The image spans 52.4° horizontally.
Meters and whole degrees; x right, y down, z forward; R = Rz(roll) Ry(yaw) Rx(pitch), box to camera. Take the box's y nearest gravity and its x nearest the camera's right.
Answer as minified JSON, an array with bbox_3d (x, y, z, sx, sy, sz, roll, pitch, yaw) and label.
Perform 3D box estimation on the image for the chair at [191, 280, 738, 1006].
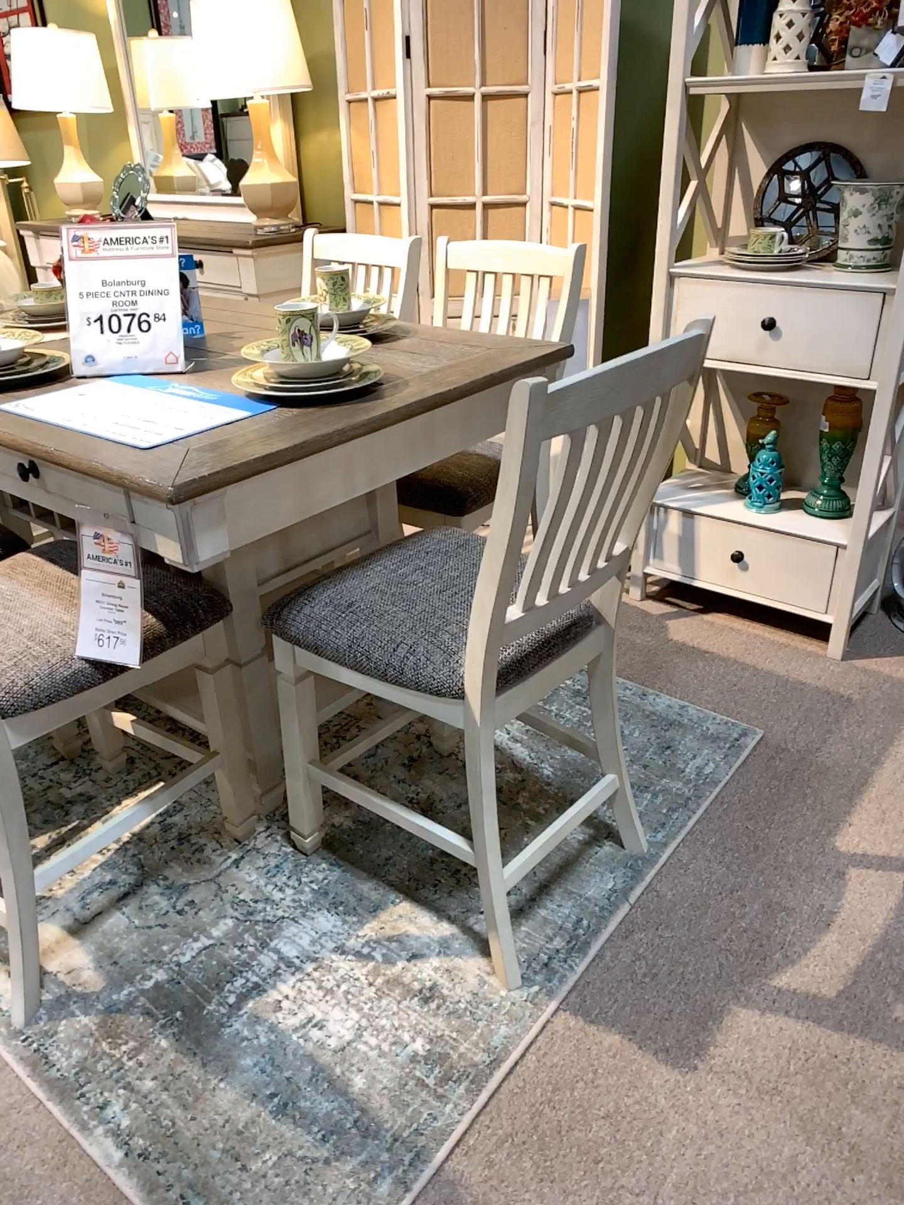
[{"bbox_3d":[0.023,0.015,1.497,0.592,0.925,0.491,20,34,36],"label":"chair"}]
